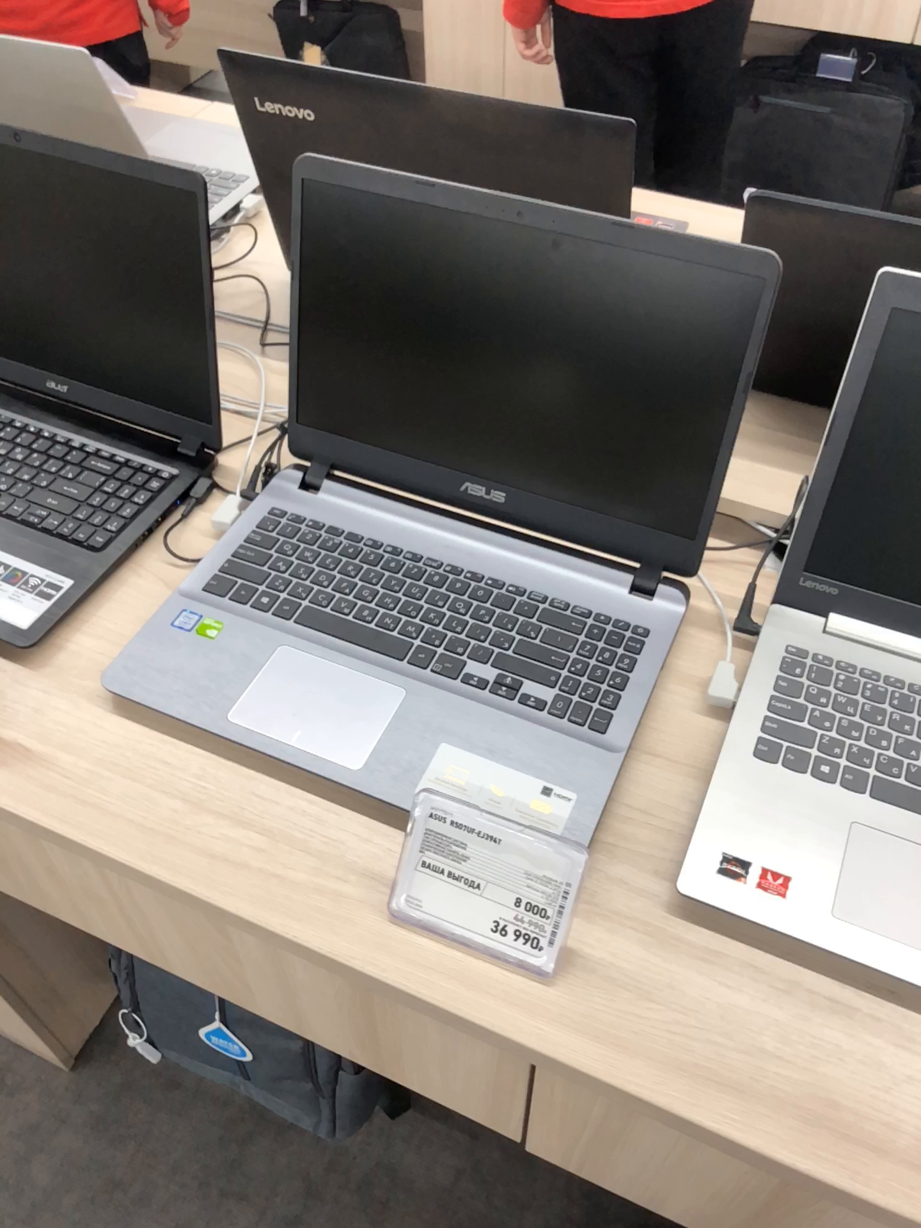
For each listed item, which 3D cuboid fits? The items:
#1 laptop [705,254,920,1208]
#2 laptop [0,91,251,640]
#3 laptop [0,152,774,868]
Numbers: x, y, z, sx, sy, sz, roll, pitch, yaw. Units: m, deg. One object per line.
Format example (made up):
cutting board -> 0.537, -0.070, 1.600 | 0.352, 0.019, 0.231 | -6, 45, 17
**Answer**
laptop -> 0.364, 0.032, 0.562 | 0.370, 0.220, 0.333 | 17, 52, 15
laptop -> -0.407, -0.205, 0.784 | 0.332, 0.222, 0.292 | 20, 51, 17
laptop -> -0.027, -0.090, 0.670 | 0.345, 0.226, 0.330 | 18, 52, 16
